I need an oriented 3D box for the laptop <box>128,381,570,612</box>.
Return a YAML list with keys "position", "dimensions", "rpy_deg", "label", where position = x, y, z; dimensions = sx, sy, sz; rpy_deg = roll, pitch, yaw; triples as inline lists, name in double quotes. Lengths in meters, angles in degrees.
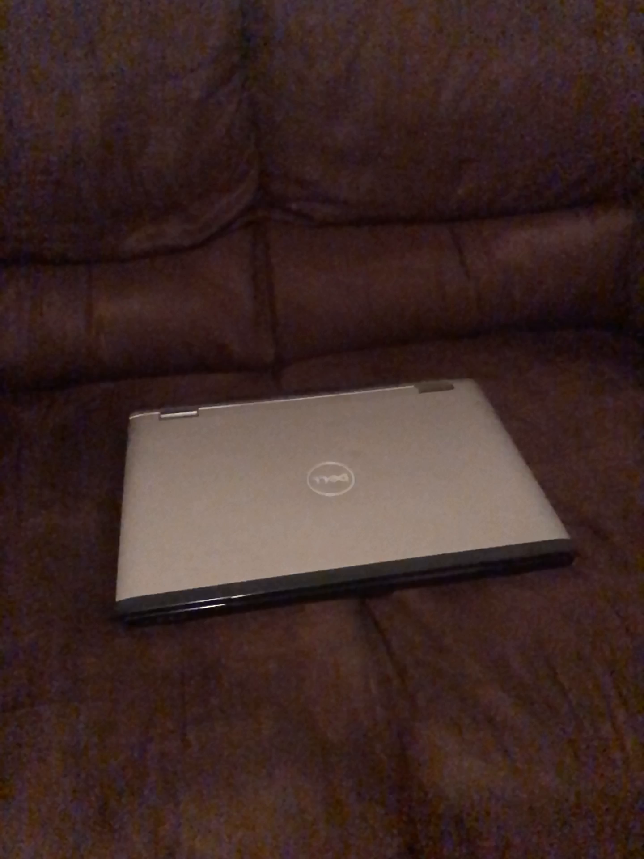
- position: [0.006, 0.043, 0.680]
  dimensions: [0.369, 0.002, 0.261]
  rpy_deg: [-6, 38, -9]
  label: "laptop"
